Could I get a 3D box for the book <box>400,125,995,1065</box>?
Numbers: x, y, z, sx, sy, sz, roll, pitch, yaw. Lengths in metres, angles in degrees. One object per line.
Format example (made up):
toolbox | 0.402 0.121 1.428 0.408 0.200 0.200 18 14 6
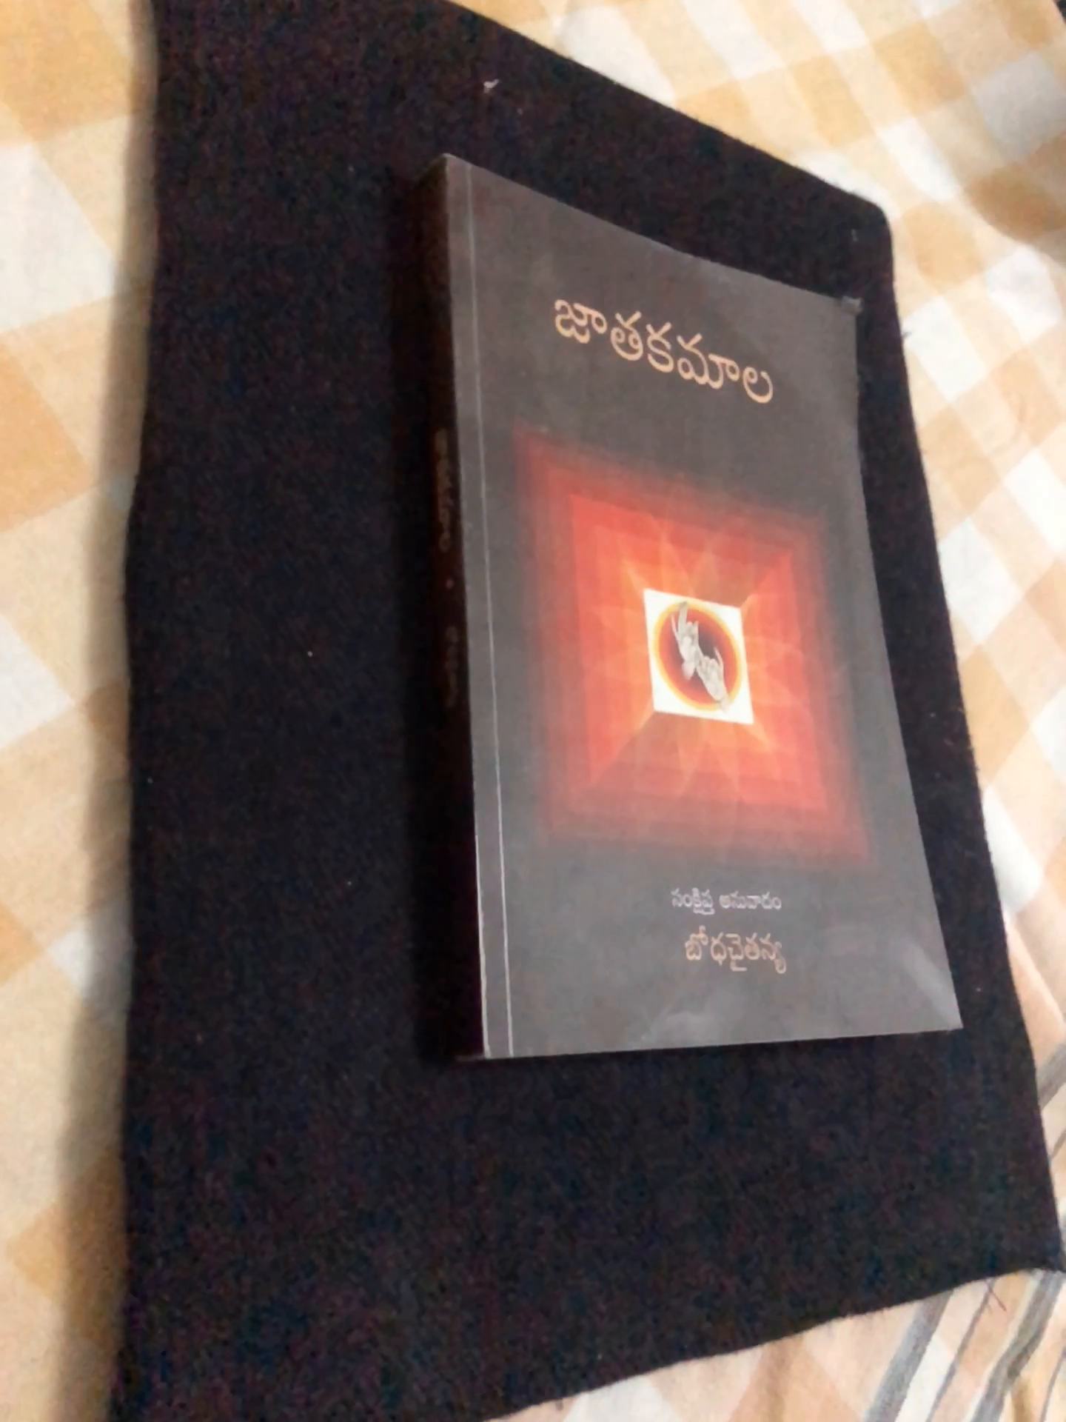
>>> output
book | 0.039 -0.027 0.289 0.141 0.020 0.210 5 73 -27
